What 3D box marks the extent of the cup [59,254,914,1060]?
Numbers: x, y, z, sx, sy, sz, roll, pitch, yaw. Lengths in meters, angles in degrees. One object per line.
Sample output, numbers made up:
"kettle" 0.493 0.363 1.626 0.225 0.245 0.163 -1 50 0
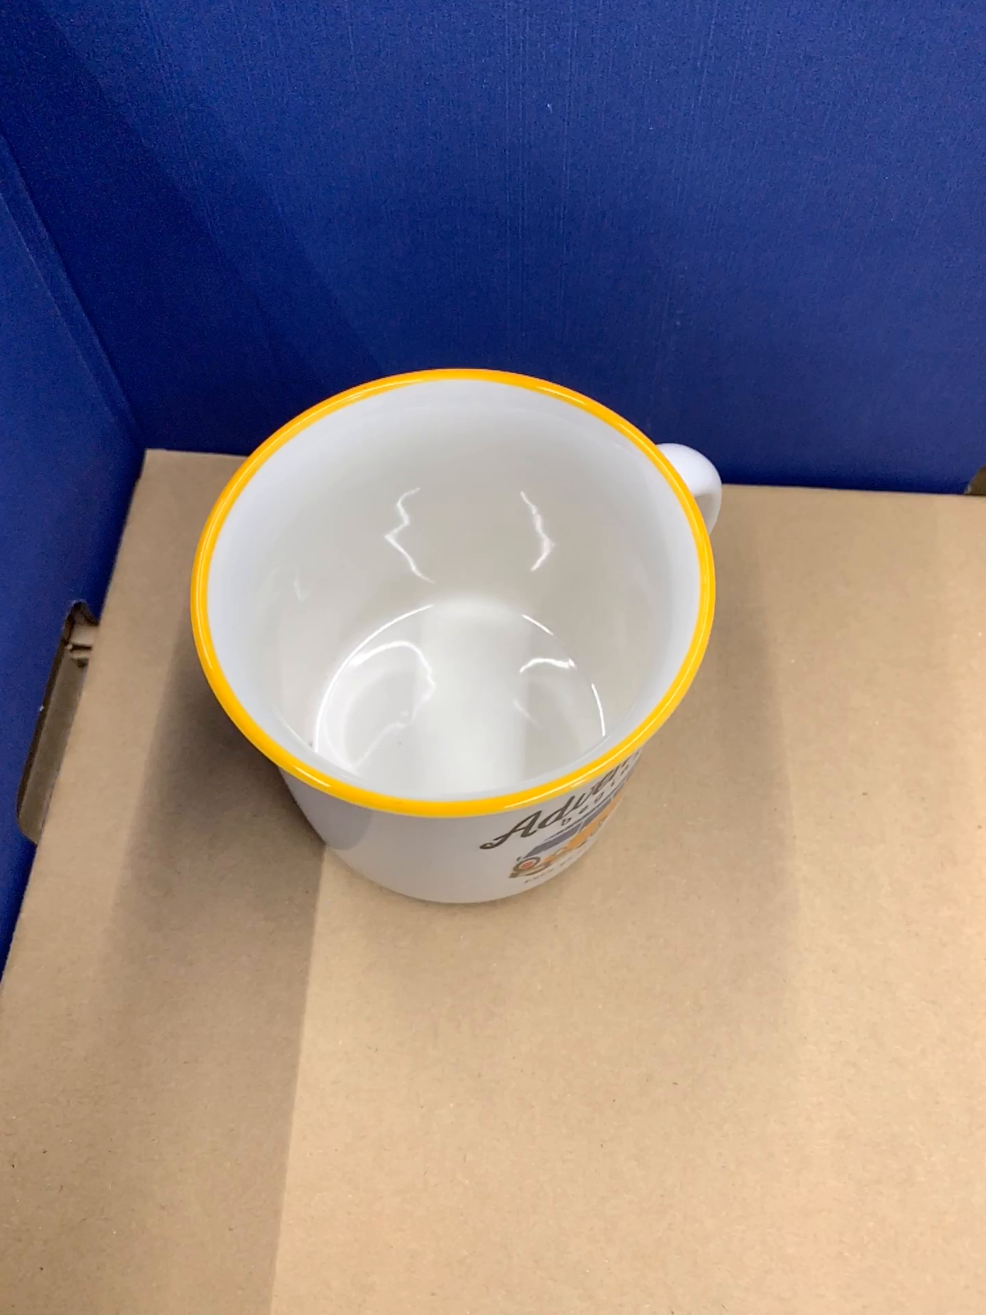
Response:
"cup" 0.000 -0.001 0.228 0.124 0.083 0.102 -39 67 -19
